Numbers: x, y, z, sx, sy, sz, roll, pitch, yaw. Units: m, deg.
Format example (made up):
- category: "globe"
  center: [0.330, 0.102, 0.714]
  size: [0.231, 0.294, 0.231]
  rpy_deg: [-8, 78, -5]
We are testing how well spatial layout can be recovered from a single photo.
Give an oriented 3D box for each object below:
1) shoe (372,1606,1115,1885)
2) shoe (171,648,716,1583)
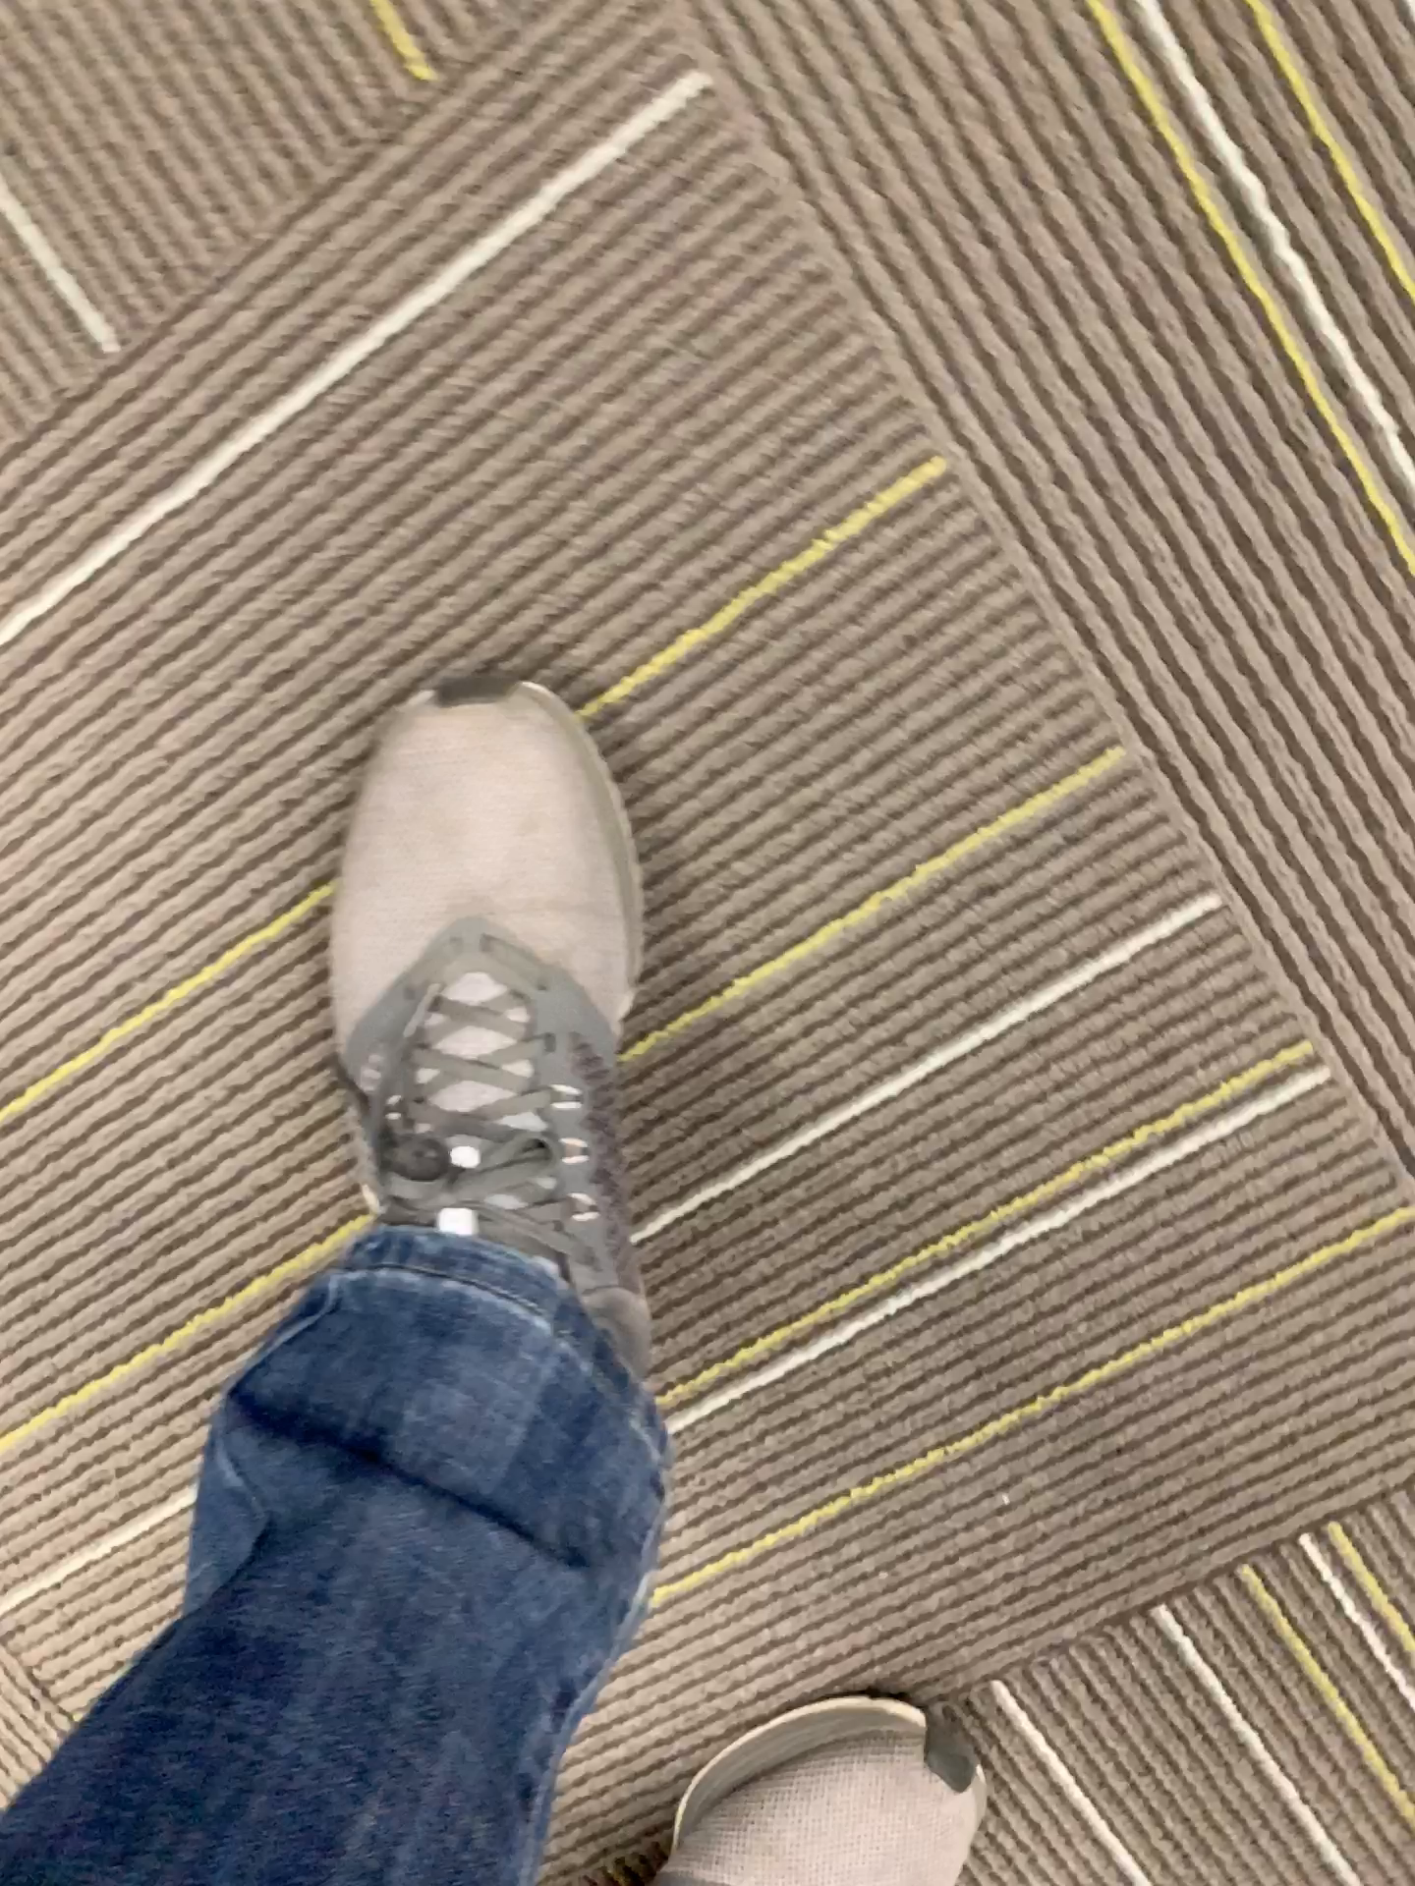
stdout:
- category: "shoe"
  center: [0.010, 0.442, 0.627]
  size: [0.128, 0.093, 0.300]
  rpy_deg: [42, 106, -6]
- category: "shoe"
  center: [-0.080, 0.063, 0.520]
  size: [0.131, 0.093, 0.313]
  rpy_deg: [-3, 105, 7]
